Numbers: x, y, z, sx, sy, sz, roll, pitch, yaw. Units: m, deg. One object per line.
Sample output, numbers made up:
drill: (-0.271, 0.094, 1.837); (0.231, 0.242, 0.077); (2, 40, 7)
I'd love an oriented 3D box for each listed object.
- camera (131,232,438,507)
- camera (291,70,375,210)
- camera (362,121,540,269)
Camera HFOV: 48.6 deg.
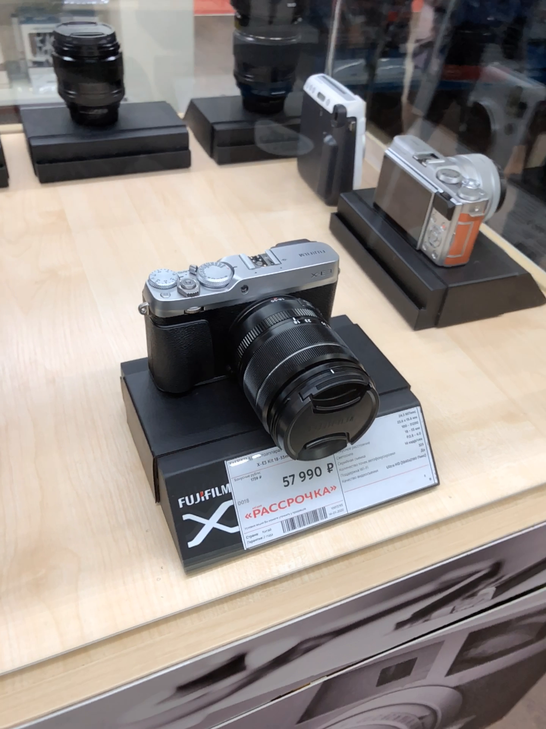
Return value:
camera: (-0.001, -0.005, 0.353); (0.131, 0.080, 0.116); (-13, 45, -20)
camera: (0.059, -0.234, 0.633); (0.045, 0.109, 0.088); (-13, 44, -17)
camera: (0.149, -0.154, 0.534); (0.077, 0.068, 0.132); (-11, 44, -19)
